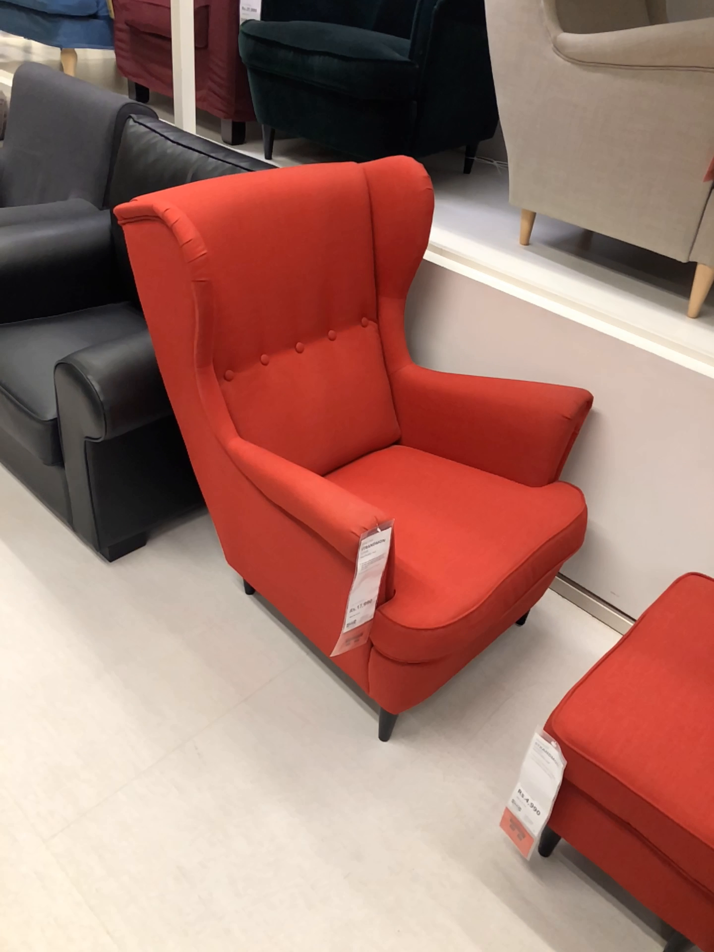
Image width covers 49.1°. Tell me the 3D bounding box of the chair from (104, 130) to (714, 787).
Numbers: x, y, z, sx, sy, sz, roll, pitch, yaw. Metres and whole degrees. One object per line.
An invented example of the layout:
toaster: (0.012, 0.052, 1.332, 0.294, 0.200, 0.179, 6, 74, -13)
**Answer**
chair: (0.097, -0.135, 1.781, 0.843, 0.973, 0.903, 32, 42, 31)
